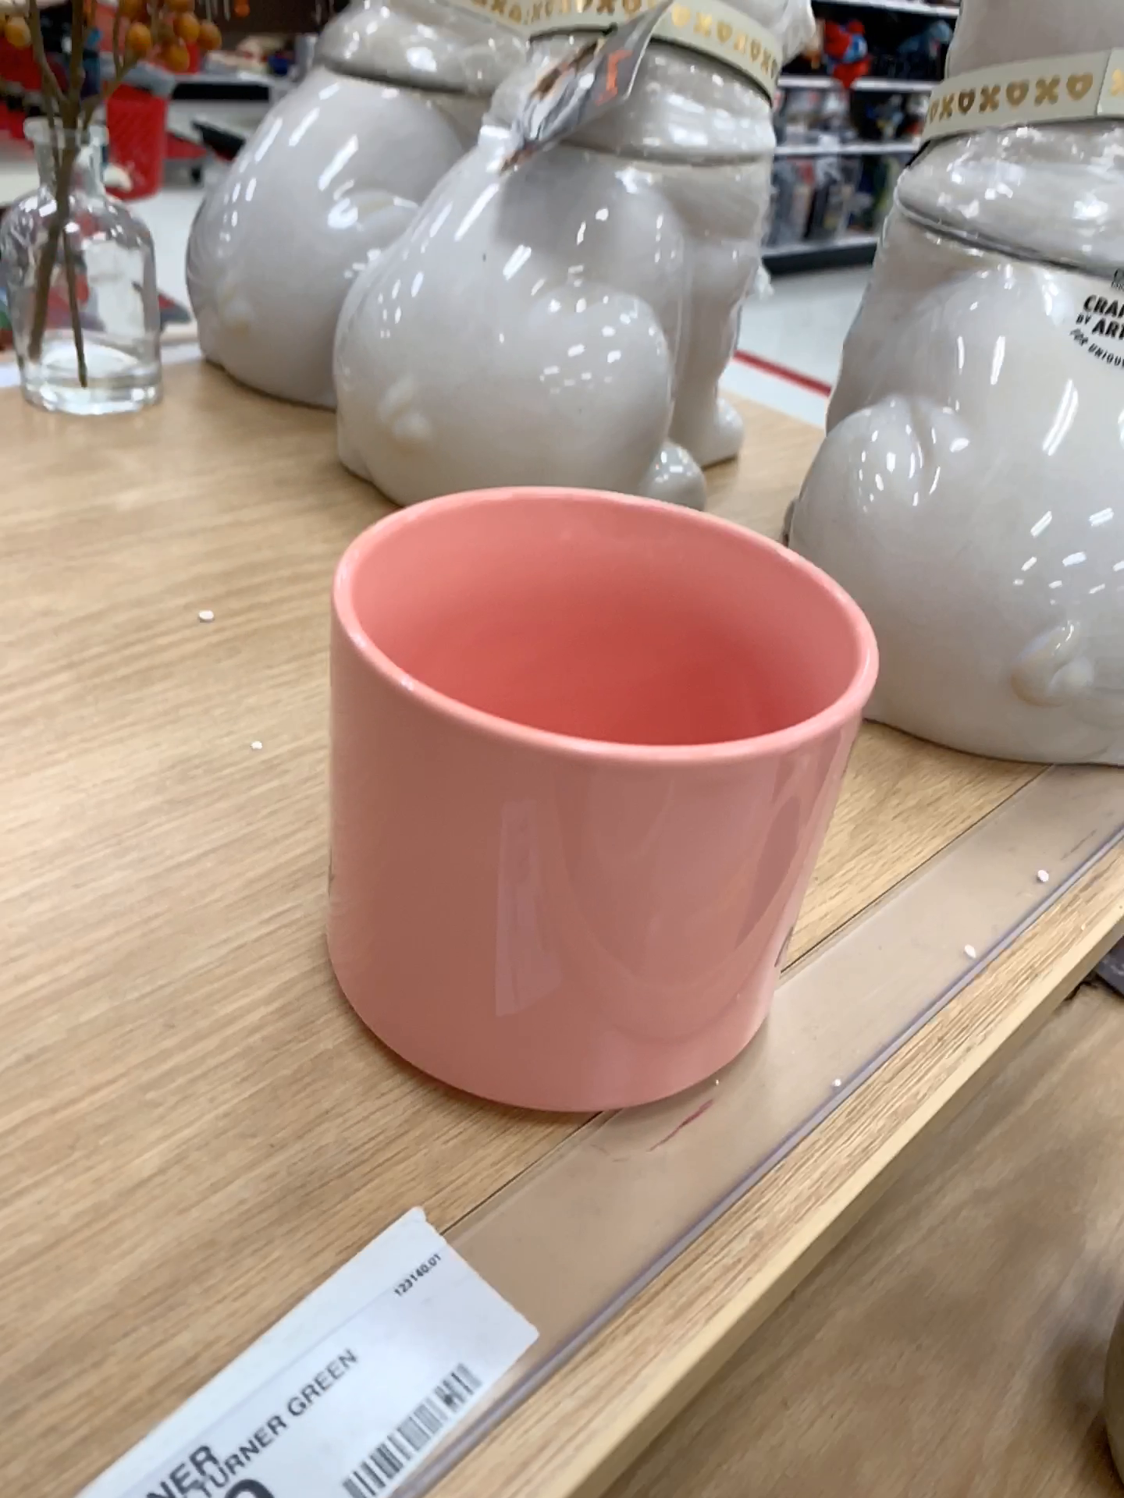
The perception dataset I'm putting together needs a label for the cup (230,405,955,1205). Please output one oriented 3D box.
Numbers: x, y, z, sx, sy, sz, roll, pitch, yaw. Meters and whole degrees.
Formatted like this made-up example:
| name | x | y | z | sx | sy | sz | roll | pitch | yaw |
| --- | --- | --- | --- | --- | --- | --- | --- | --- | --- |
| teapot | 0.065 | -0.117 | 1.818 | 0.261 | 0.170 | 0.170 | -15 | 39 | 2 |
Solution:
| name | x | y | z | sx | sy | sz | roll | pitch | yaw |
| --- | --- | --- | --- | --- | --- | --- | --- | --- | --- |
| cup | 0.009 | 0.000 | 0.242 | 0.104 | 0.085 | 0.133 | 11 | 35 | 4 |
